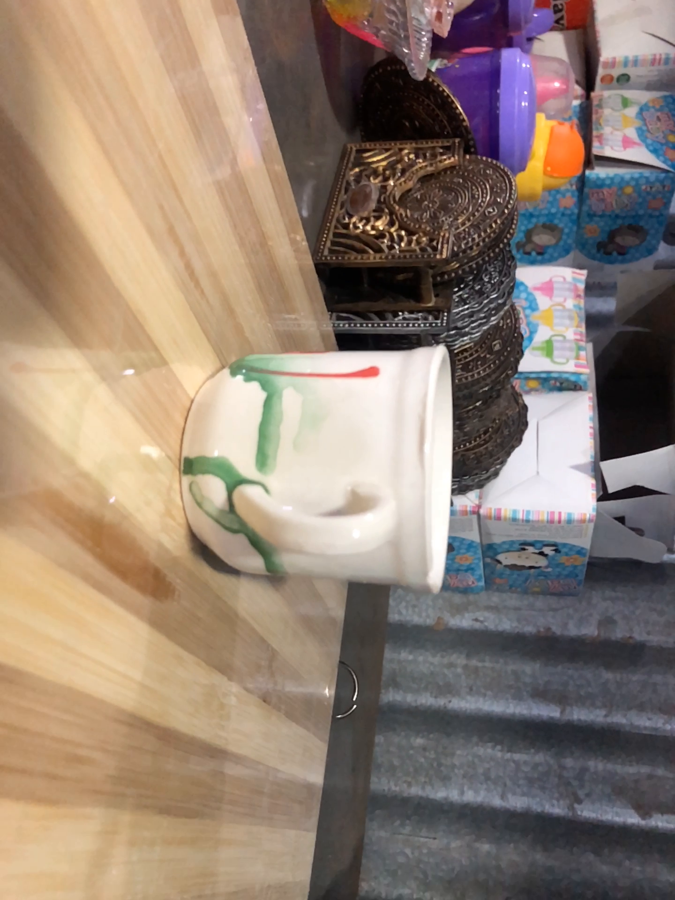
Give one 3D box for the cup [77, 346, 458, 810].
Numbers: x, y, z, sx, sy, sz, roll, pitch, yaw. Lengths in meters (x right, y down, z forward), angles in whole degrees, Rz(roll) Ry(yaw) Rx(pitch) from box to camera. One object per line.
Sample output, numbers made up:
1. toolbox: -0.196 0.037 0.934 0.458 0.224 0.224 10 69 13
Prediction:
1. cup: -0.007 0.025 0.200 0.090 0.070 0.080 -65 155 -63
